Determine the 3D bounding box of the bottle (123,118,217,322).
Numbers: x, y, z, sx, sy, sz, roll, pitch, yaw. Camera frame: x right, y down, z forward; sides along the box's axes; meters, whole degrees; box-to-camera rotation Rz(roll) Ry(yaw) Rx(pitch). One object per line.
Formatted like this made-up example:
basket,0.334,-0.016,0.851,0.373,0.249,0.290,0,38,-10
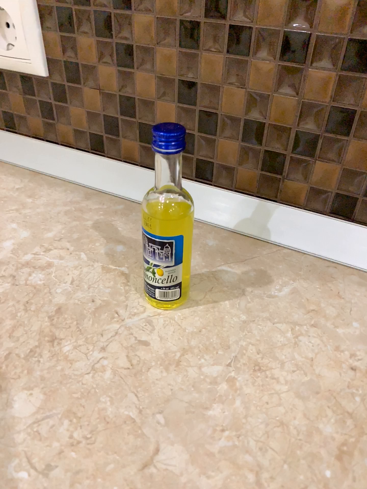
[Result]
bottle,-0.008,-0.011,0.236,0.039,0.119,0.033,18,39,20
